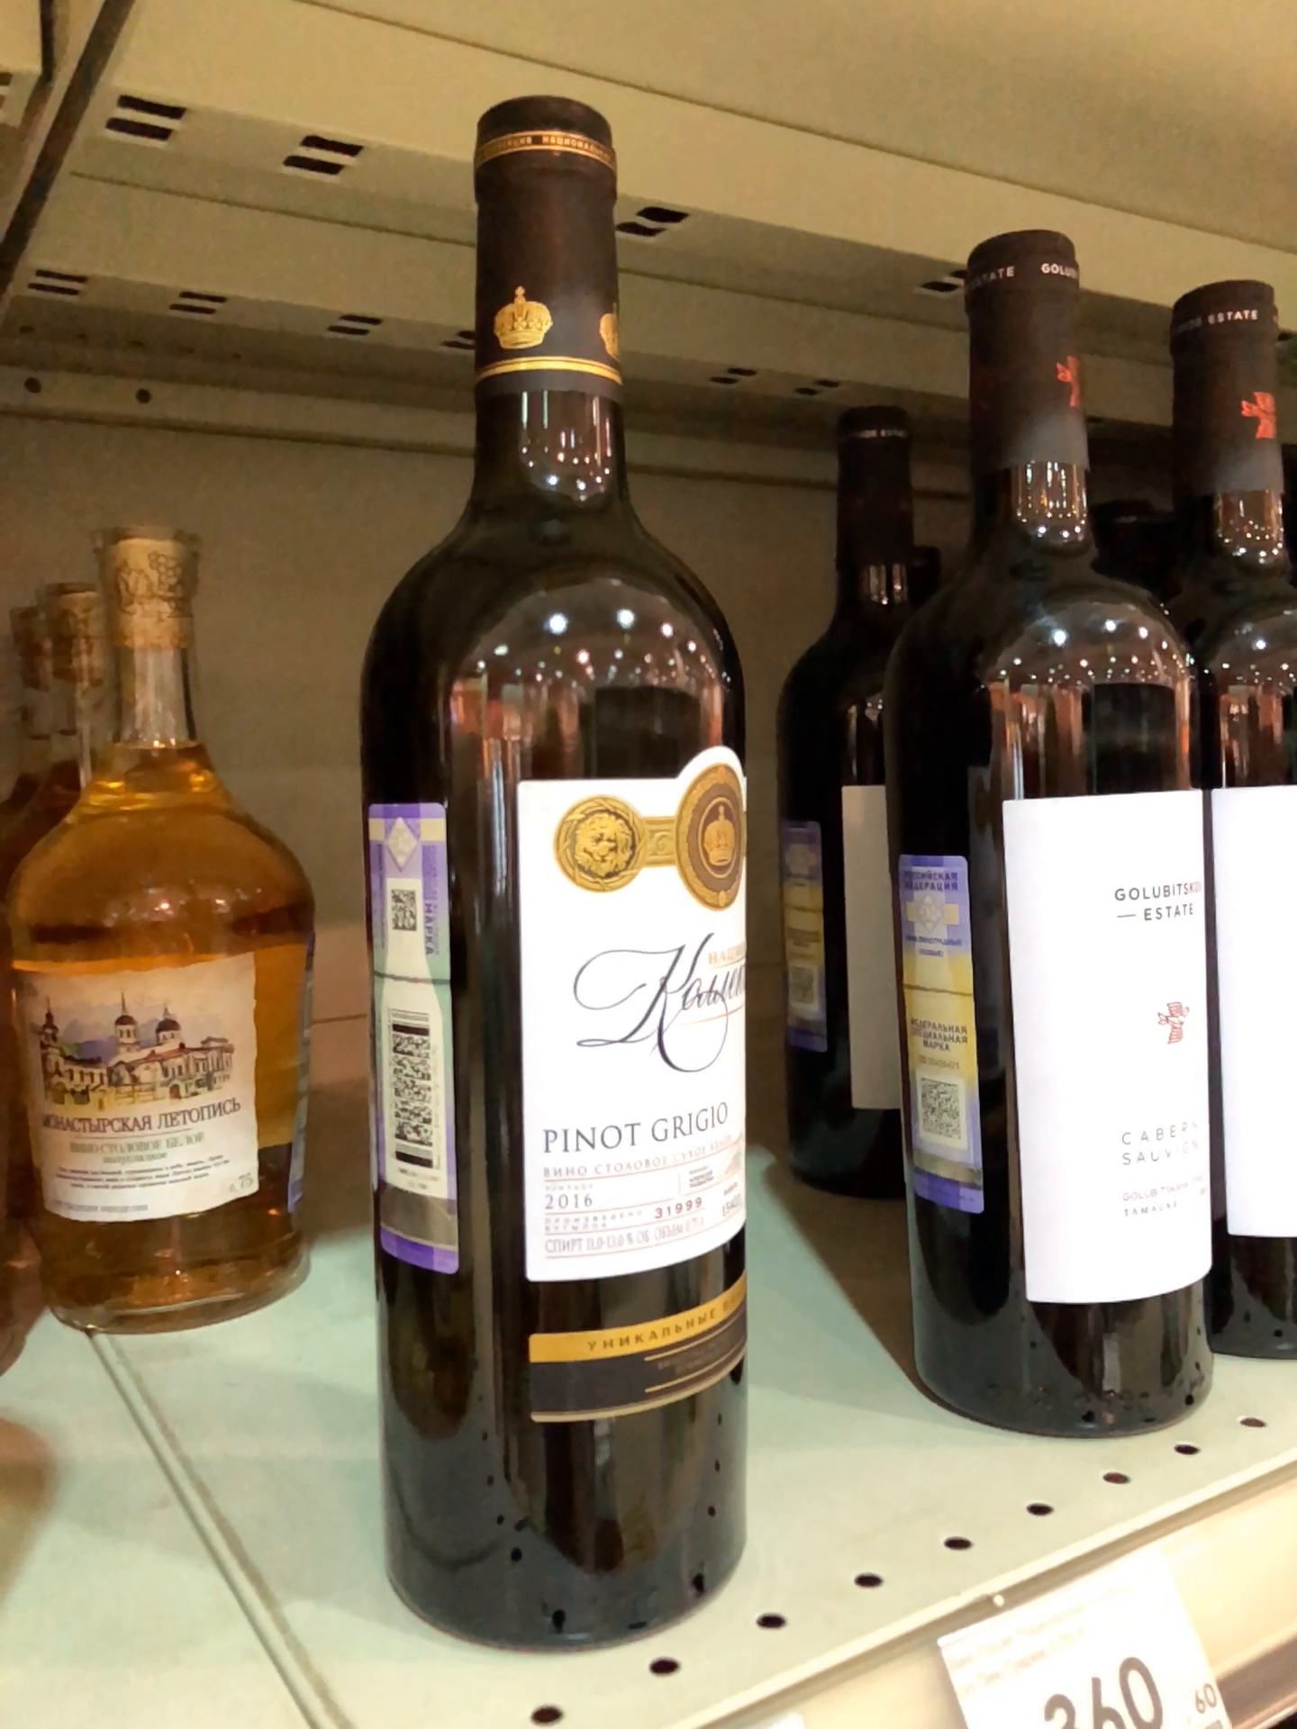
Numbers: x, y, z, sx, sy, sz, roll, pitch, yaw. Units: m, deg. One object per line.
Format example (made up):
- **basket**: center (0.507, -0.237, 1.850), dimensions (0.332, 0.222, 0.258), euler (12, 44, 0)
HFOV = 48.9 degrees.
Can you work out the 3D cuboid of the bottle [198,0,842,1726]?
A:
- **bottle**: center (-0.023, -0.011, 0.308), dimensions (0.090, 0.320, 0.090), euler (-2, 3, 0)
